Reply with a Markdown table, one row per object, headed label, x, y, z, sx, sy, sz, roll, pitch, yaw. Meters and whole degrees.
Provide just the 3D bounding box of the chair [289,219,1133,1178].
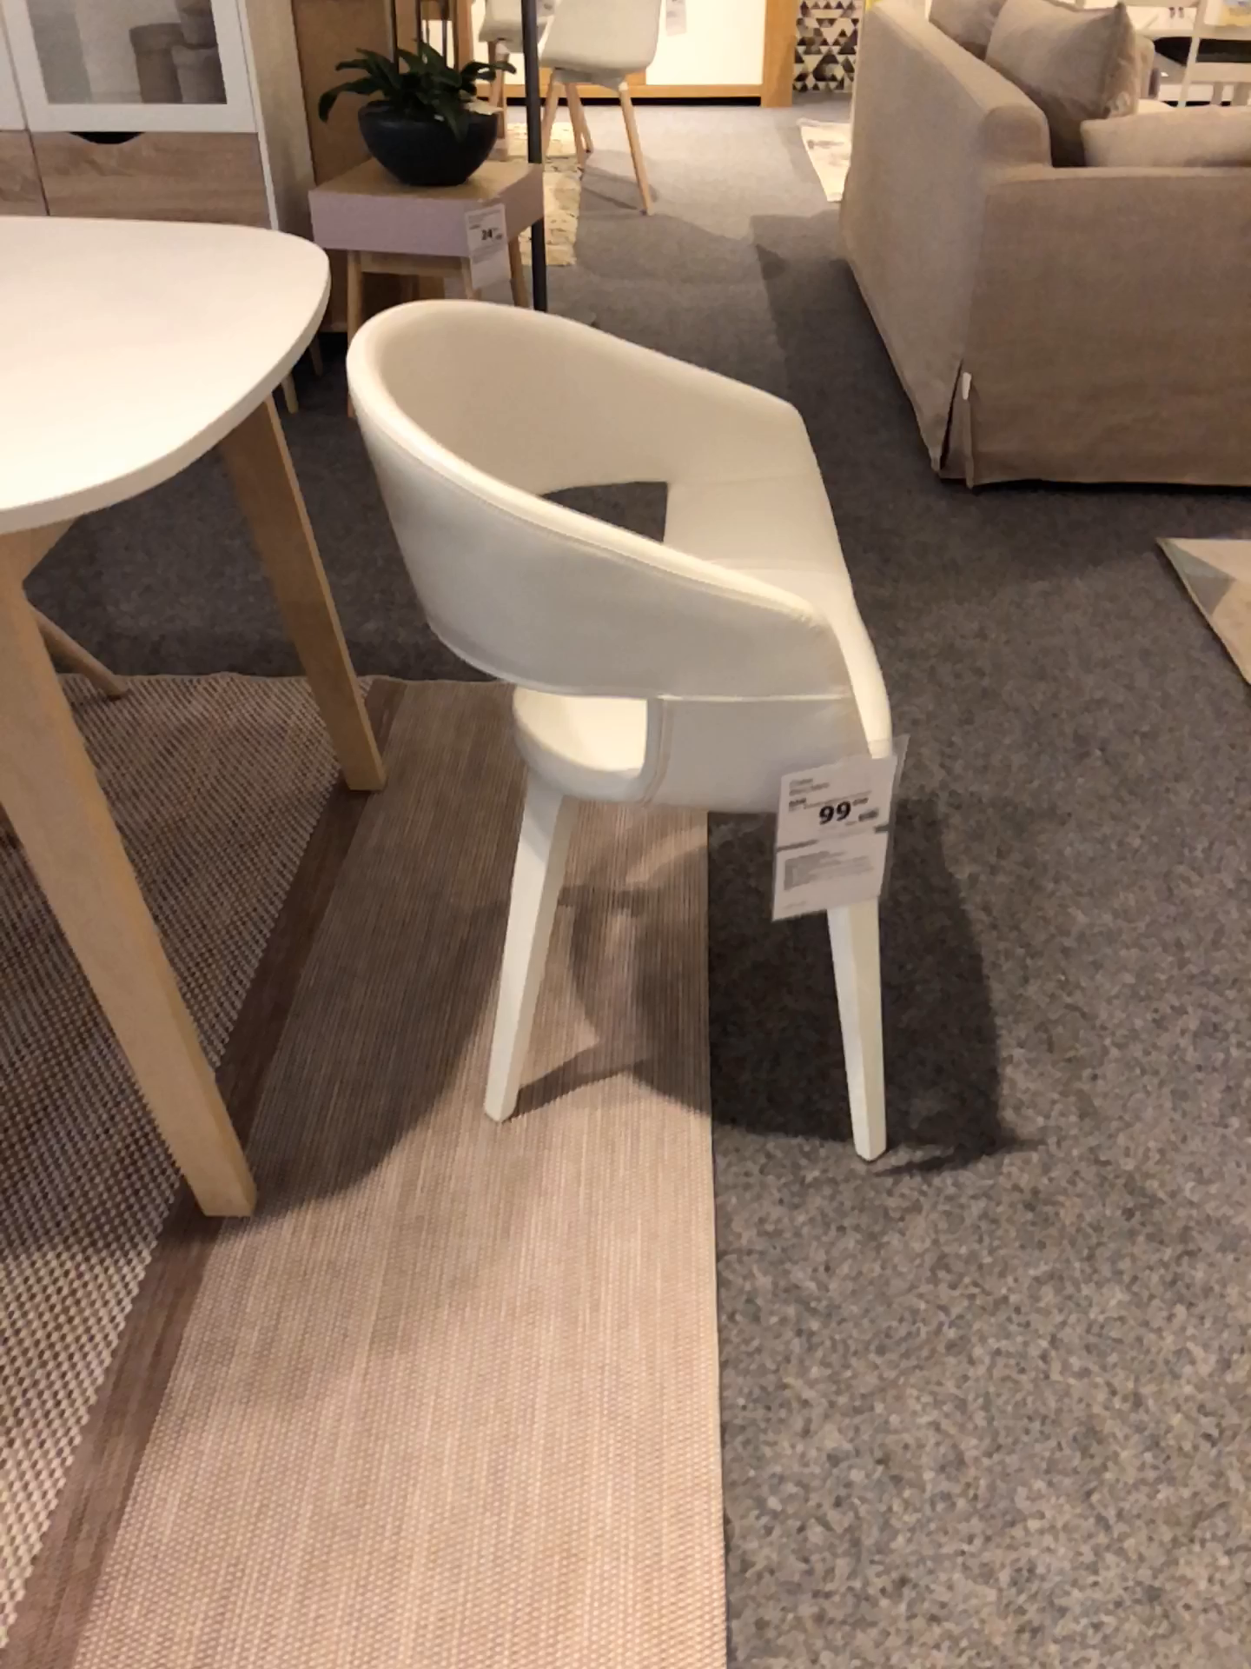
| label | x | y | z | sx | sy | sz | roll | pitch | yaw |
| --- | --- | --- | --- | --- | --- | --- | --- | --- | --- |
| chair | 0.063 | -0.137 | 1.354 | 0.560 | 0.756 | 0.553 | 1 | 36 | 1 |
